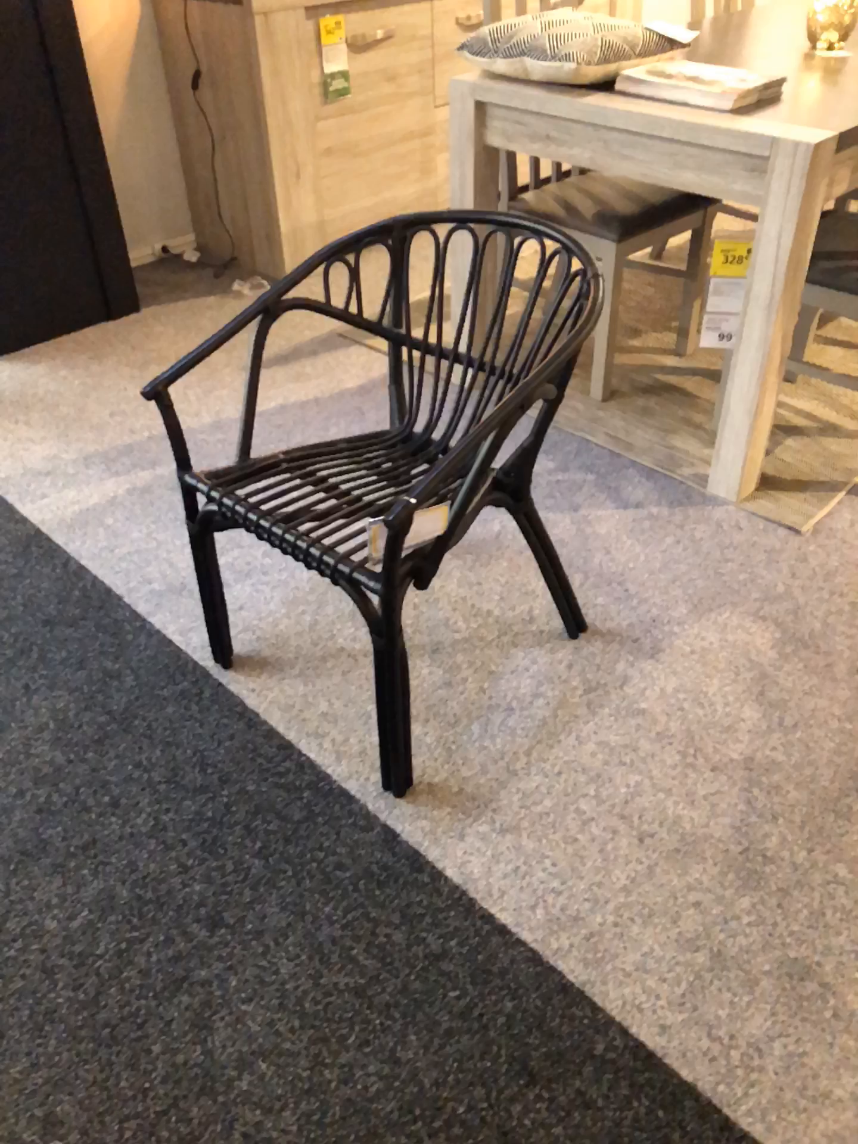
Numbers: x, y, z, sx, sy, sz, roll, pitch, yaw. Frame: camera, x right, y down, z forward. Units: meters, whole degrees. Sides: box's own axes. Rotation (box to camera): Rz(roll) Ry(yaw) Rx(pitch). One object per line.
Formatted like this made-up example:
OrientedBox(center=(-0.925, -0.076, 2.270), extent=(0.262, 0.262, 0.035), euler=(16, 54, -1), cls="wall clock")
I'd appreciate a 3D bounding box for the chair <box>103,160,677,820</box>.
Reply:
OrientedBox(center=(-0.045, -0.161, 1.482), extent=(0.563, 0.736, 0.530), euler=(-31, 46, -34), cls="chair")
